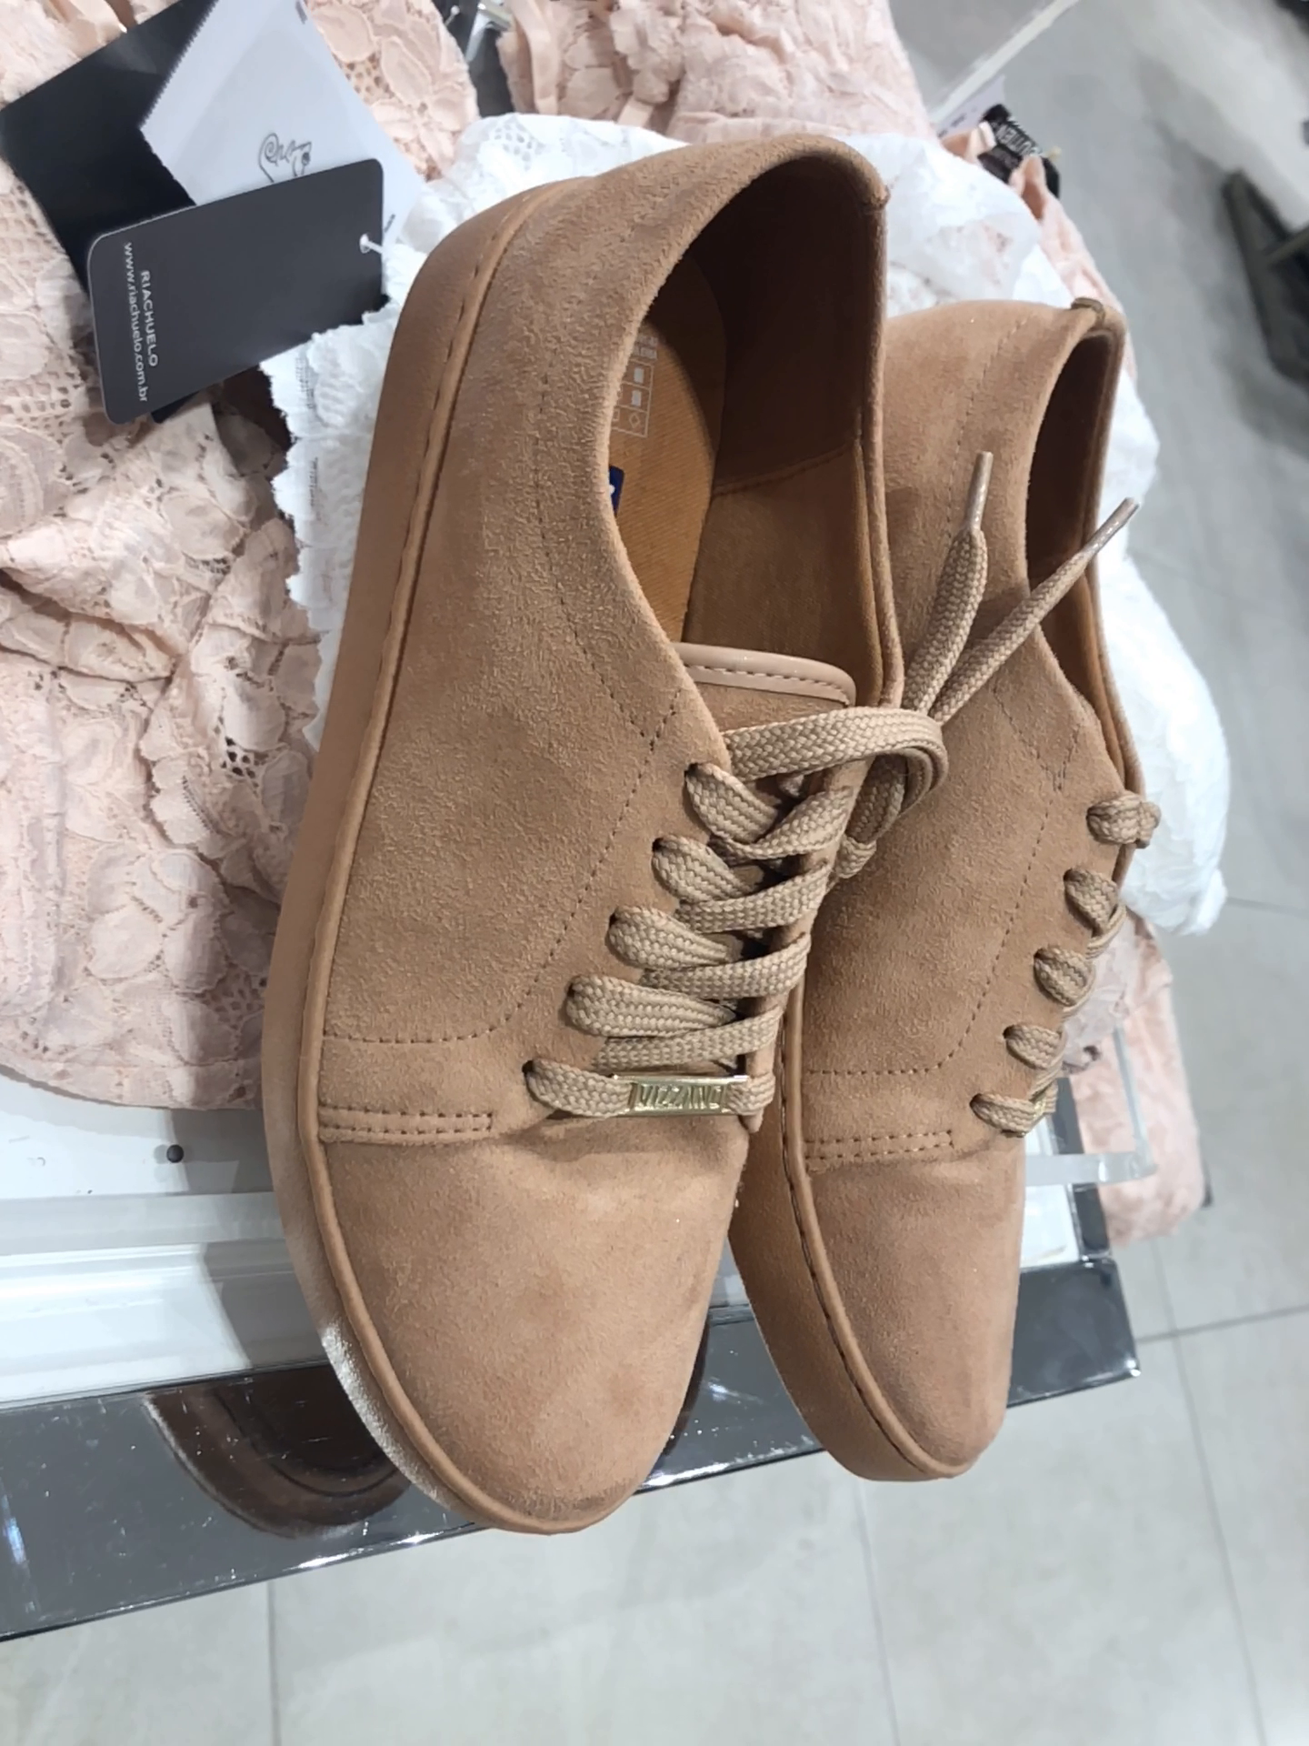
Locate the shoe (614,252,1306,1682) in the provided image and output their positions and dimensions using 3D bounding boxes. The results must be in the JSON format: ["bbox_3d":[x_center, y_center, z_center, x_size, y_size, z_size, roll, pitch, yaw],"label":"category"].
[{"bbox_3d":[0.067,0.017,0.308,0.091,0.099,0.240,-3,88,-58],"label":"shoe"}]

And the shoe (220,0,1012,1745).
[{"bbox_3d":[-0.007,0.000,0.263,0.091,0.099,0.240,5,87,-42],"label":"shoe"}]
